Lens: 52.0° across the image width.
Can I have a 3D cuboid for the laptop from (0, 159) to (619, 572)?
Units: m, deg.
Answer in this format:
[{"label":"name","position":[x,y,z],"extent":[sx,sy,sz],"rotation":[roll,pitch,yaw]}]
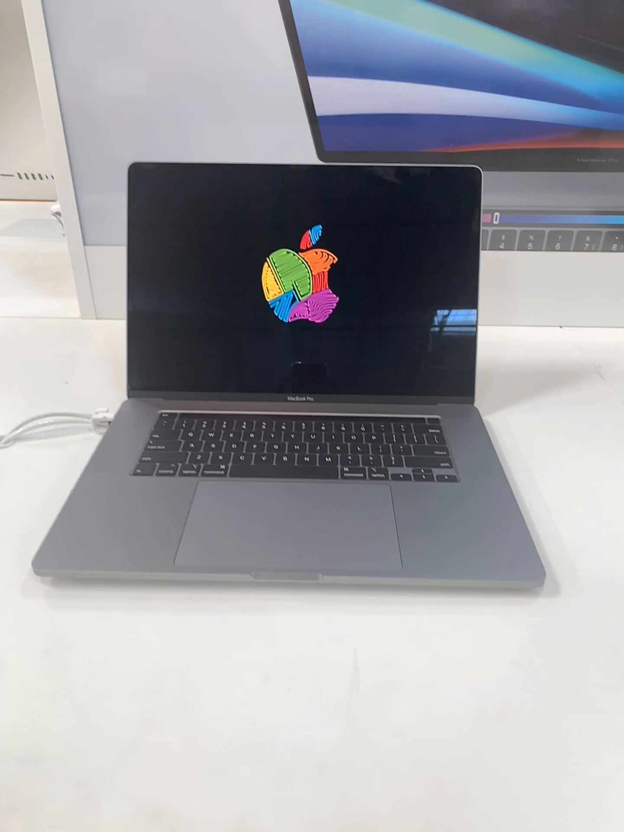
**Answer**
[{"label":"laptop","position":[-0.011,-0.074,0.524],"extent":[0.341,0.203,0.347],"rotation":[1,30,1]}]
